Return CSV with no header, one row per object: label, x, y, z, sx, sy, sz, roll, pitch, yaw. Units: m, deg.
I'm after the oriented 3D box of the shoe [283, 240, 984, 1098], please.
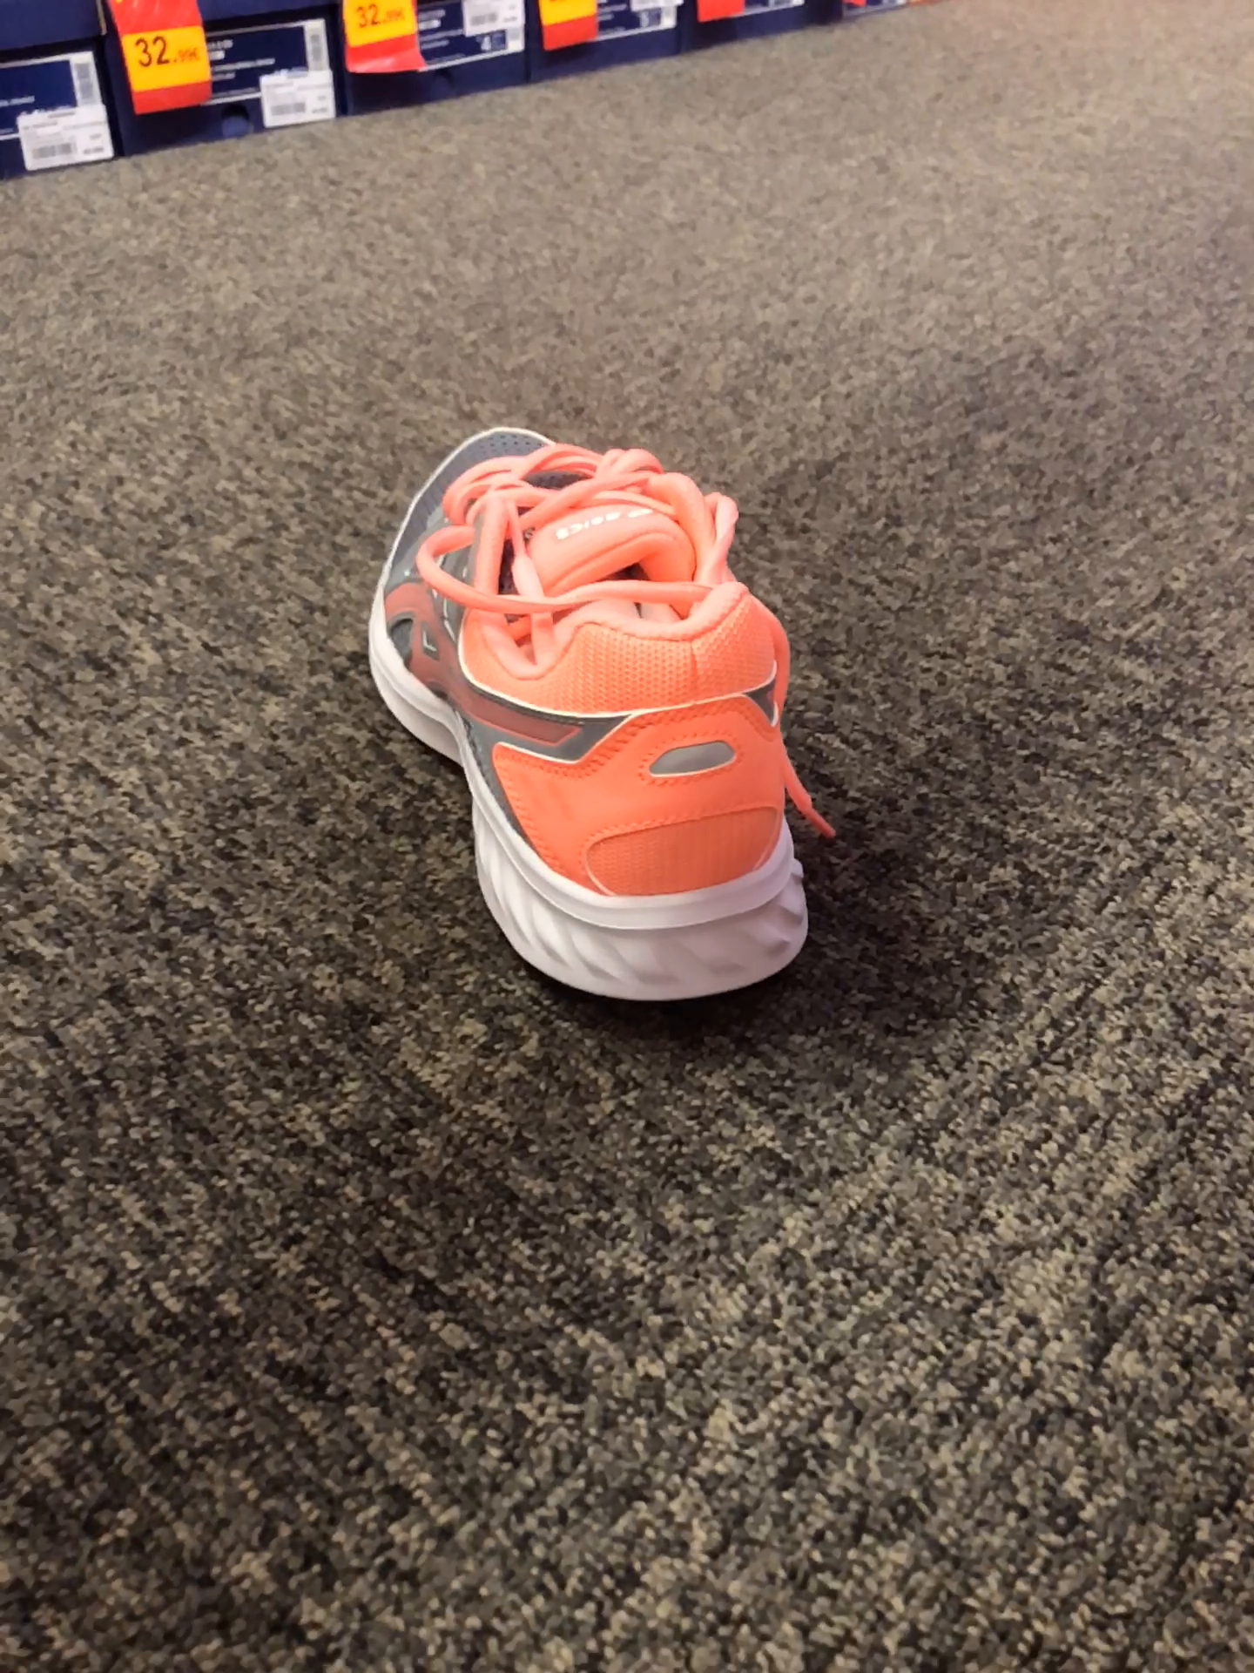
shoe,-0.019,-0.069,0.386,0.110,0.109,0.251,-10,40,-13
